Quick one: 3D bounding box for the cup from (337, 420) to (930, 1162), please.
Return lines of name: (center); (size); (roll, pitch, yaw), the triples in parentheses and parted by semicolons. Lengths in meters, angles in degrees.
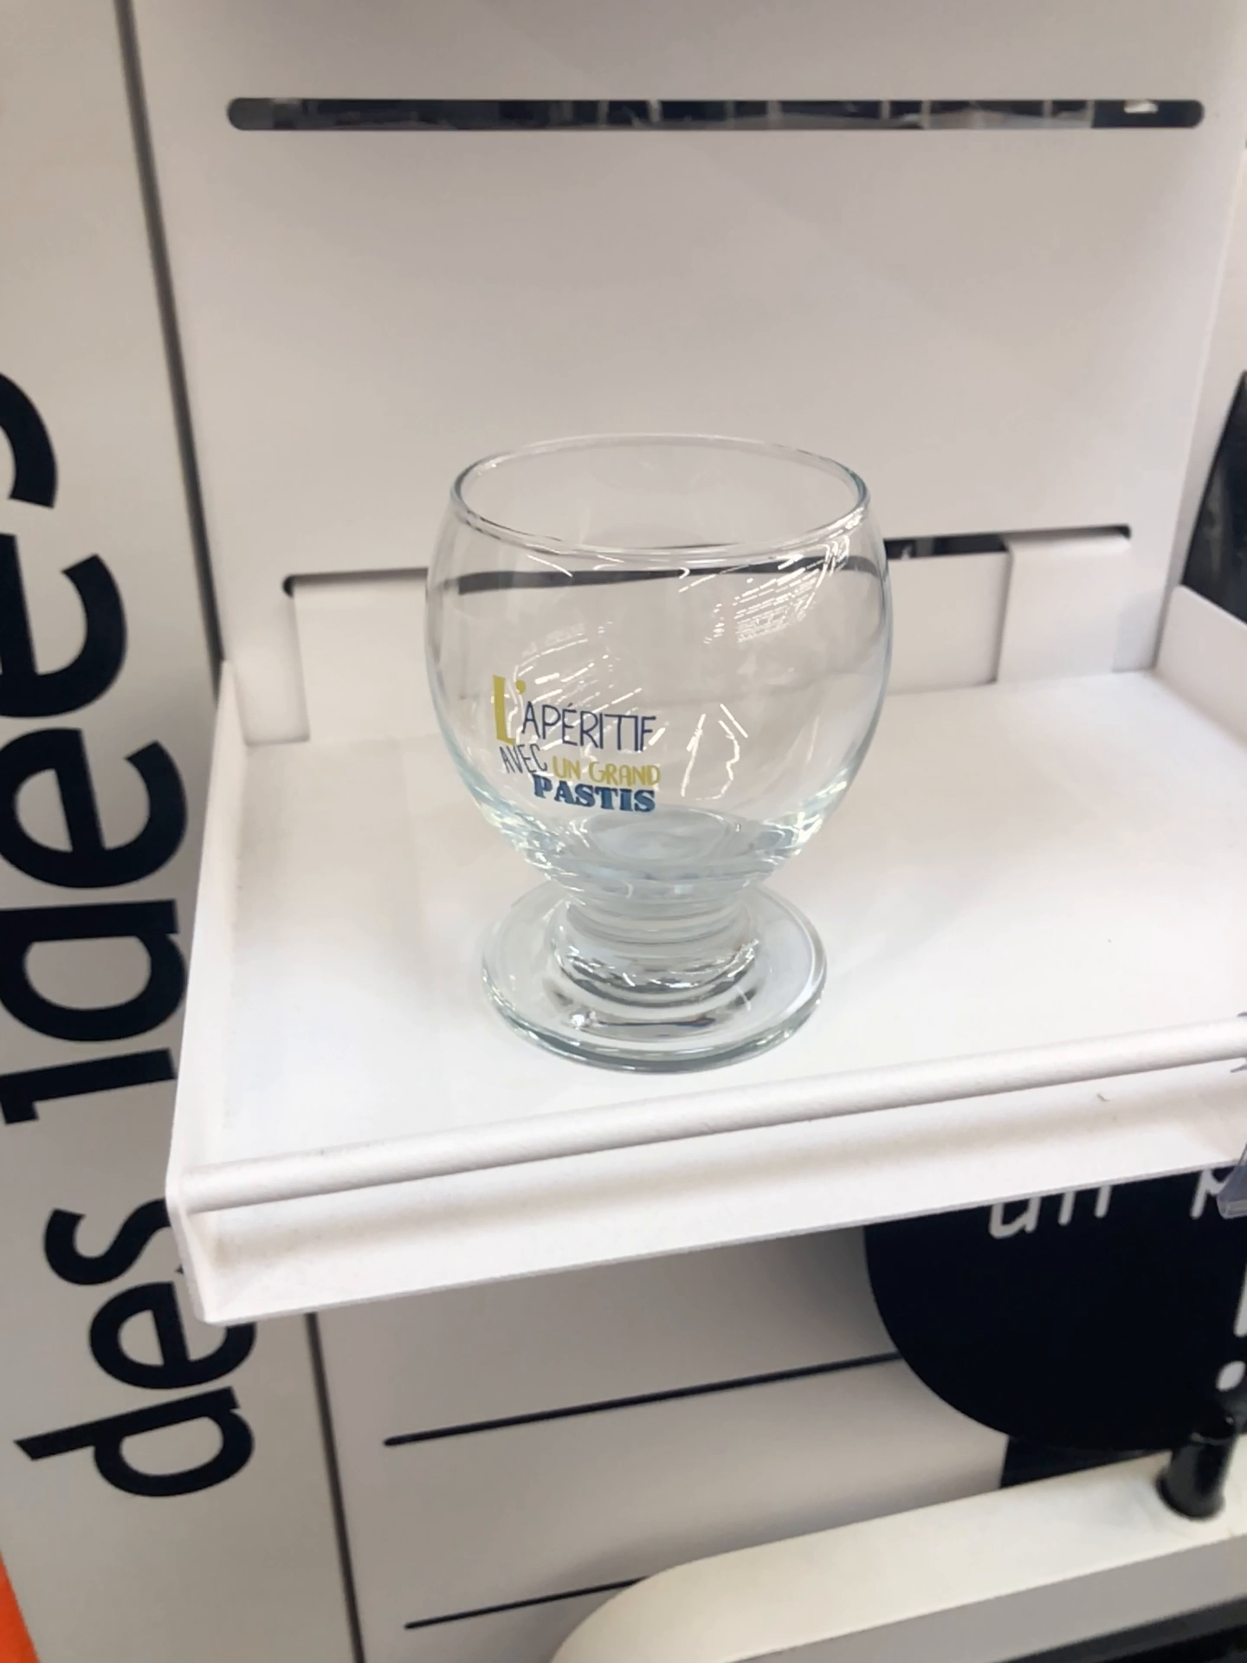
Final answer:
cup: (0.007, -0.012, 0.236); (0.073, 0.093, 0.079); (0, 28, 0)
